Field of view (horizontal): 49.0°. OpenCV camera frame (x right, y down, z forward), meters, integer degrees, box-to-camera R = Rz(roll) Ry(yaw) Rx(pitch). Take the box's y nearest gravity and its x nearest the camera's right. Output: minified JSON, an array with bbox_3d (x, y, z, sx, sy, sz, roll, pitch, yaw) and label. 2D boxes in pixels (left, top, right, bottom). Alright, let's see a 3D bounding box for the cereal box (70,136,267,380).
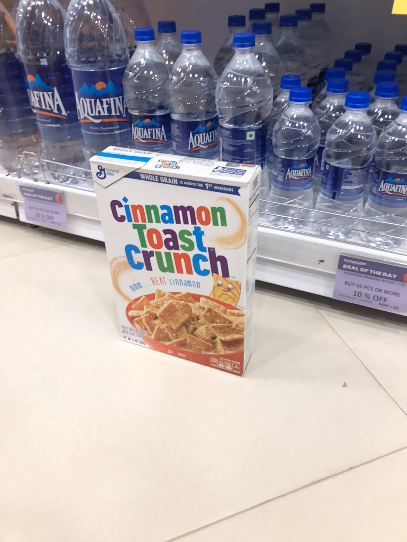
[{"bbox_3d":[-0.034,-0.009,0.549,0.200,0.278,0.060,12,39,19],"label":"cereal box"}]
